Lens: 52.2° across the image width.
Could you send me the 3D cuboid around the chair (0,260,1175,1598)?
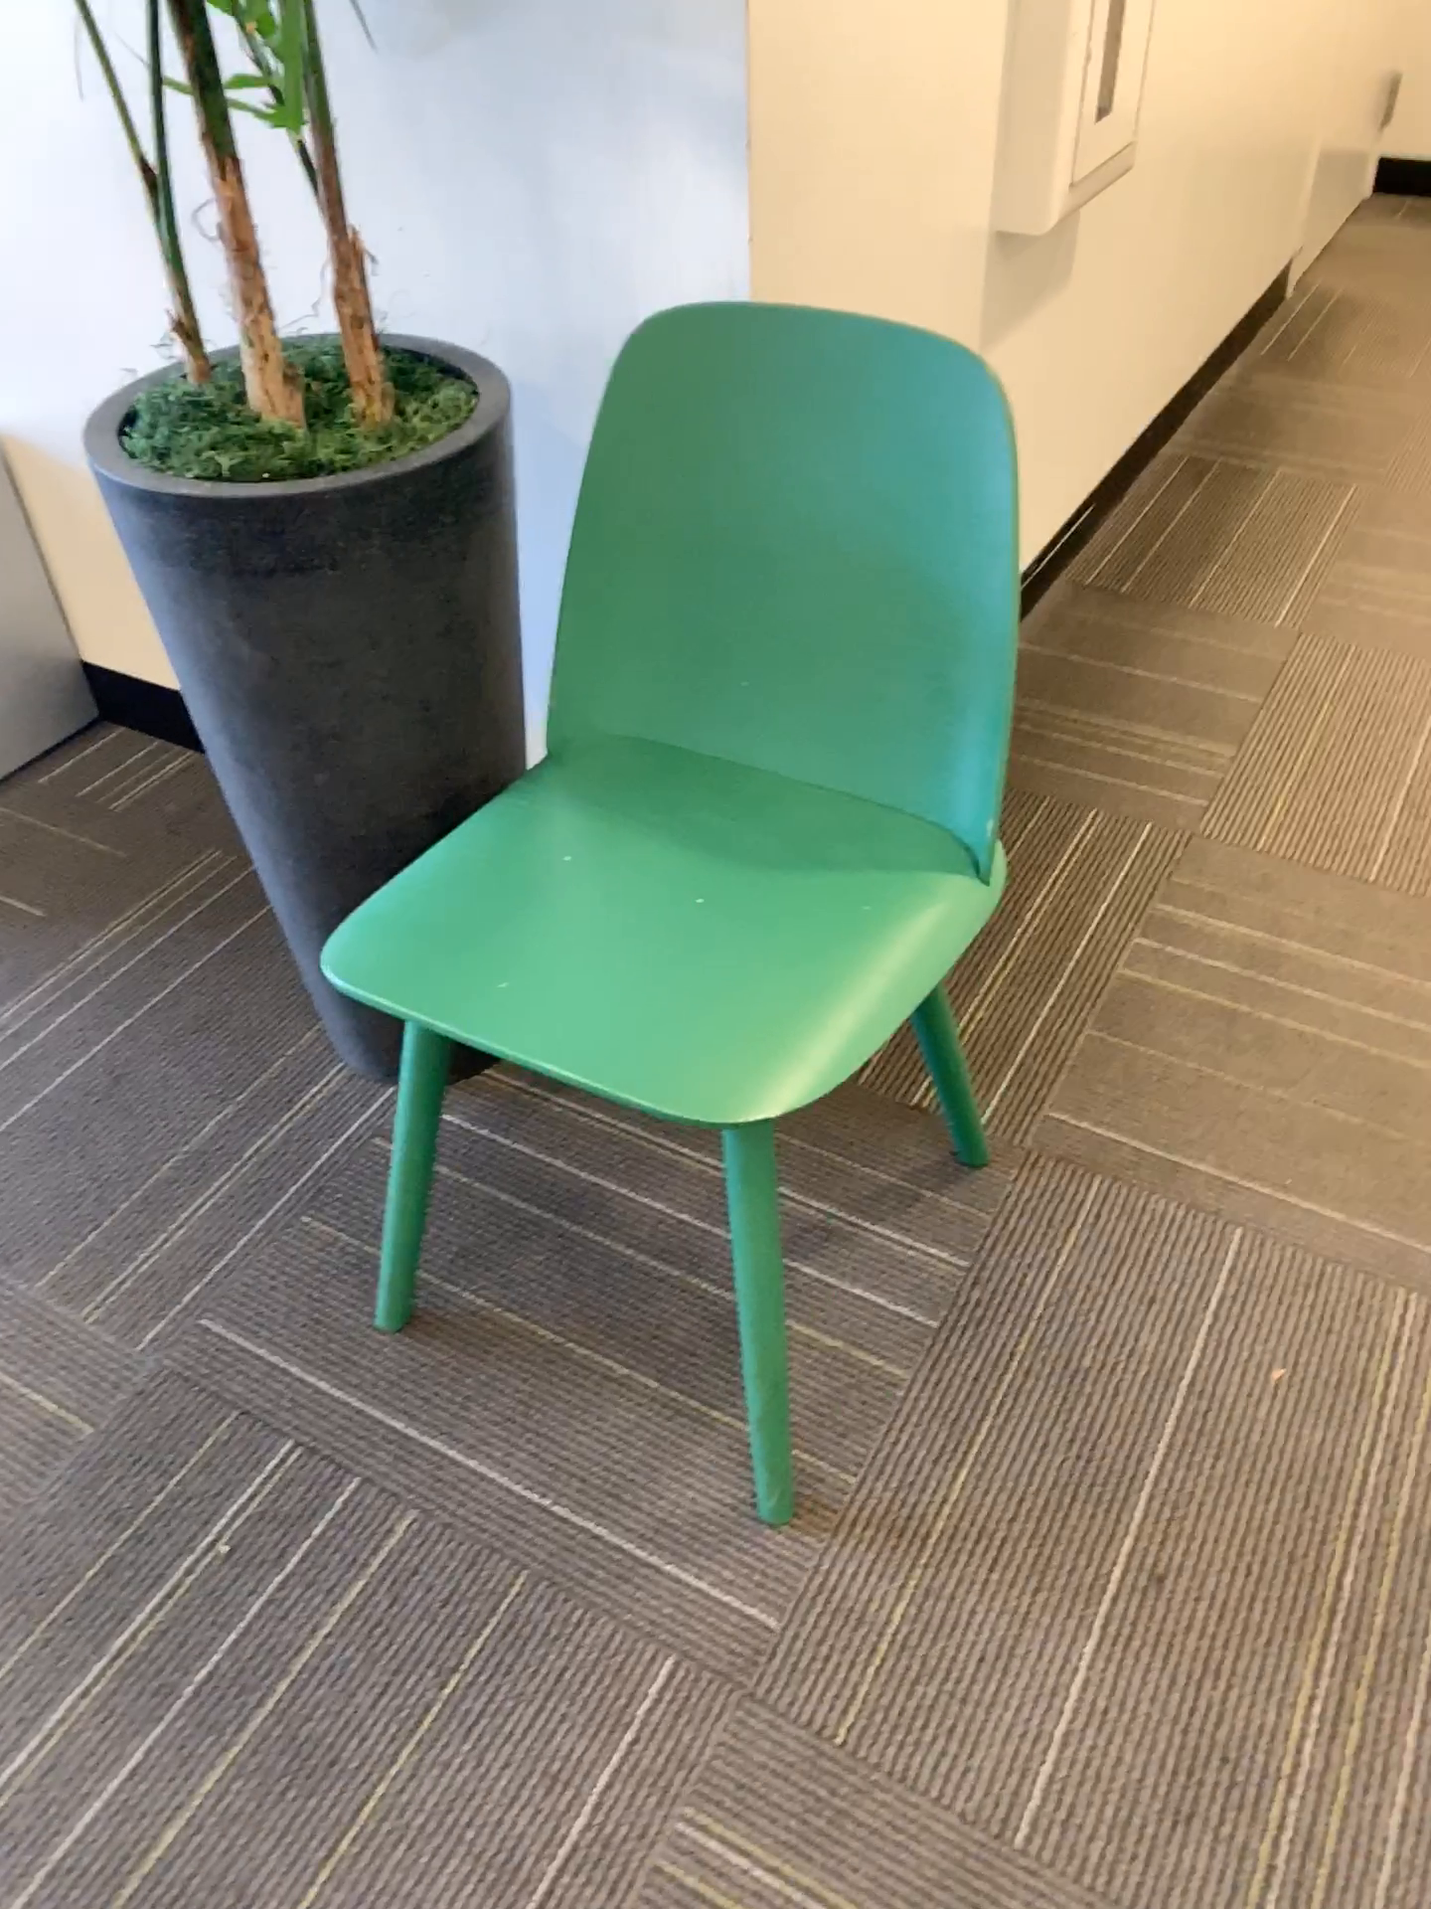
[{"bbox_3d":[-0.032,-0.045,1.161,0.501,0.746,0.602,19,45,23],"label":"chair"}]
